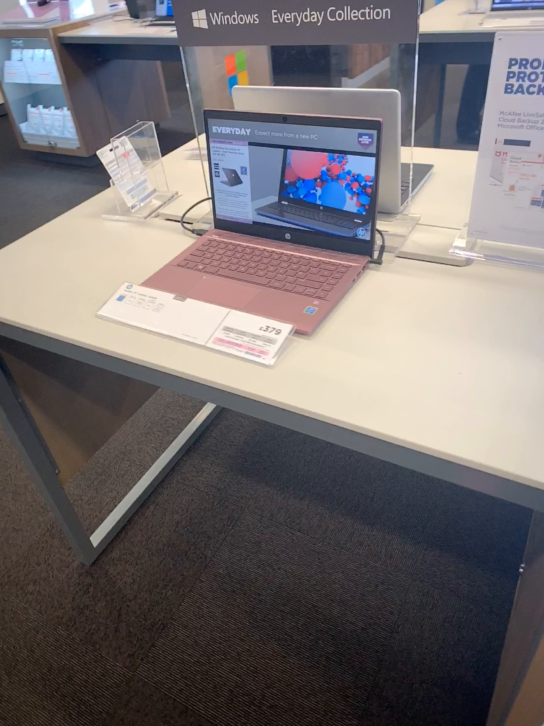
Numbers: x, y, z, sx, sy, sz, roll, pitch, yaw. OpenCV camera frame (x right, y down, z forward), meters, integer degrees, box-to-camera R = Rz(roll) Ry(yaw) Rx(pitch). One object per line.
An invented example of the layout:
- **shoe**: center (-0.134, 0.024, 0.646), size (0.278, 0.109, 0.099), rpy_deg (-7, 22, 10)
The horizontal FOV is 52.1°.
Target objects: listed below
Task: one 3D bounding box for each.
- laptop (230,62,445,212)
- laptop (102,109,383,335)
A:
- **laptop**: center (0.130, -0.449, 1.072), size (0.325, 0.186, 0.245), rpy_deg (15, 43, 25)
- **laptop**: center (-0.030, -0.231, 0.841), size (0.313, 0.200, 0.251), rpy_deg (17, 45, 27)
